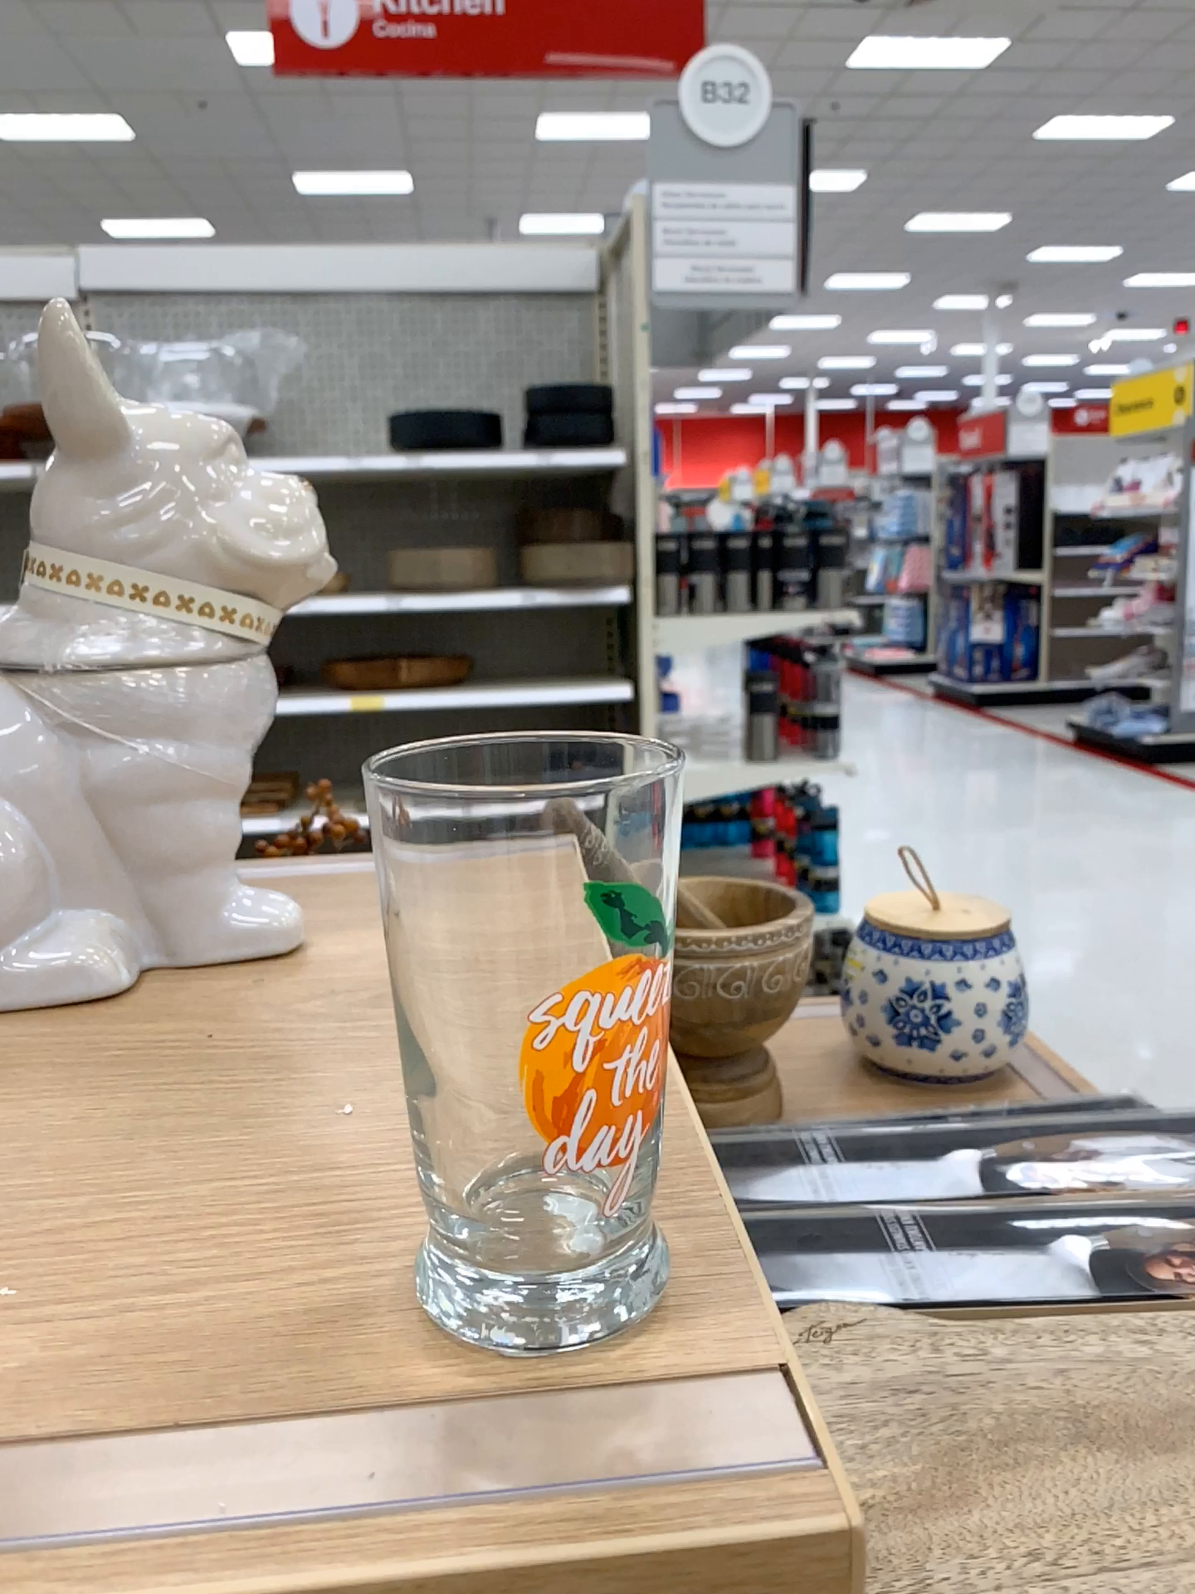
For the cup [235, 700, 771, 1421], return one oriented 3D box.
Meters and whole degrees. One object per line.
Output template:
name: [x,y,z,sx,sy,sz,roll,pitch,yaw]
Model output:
cup: [-0.018,0.045,0.274,0.080,0.120,0.080,-2,11,0]
